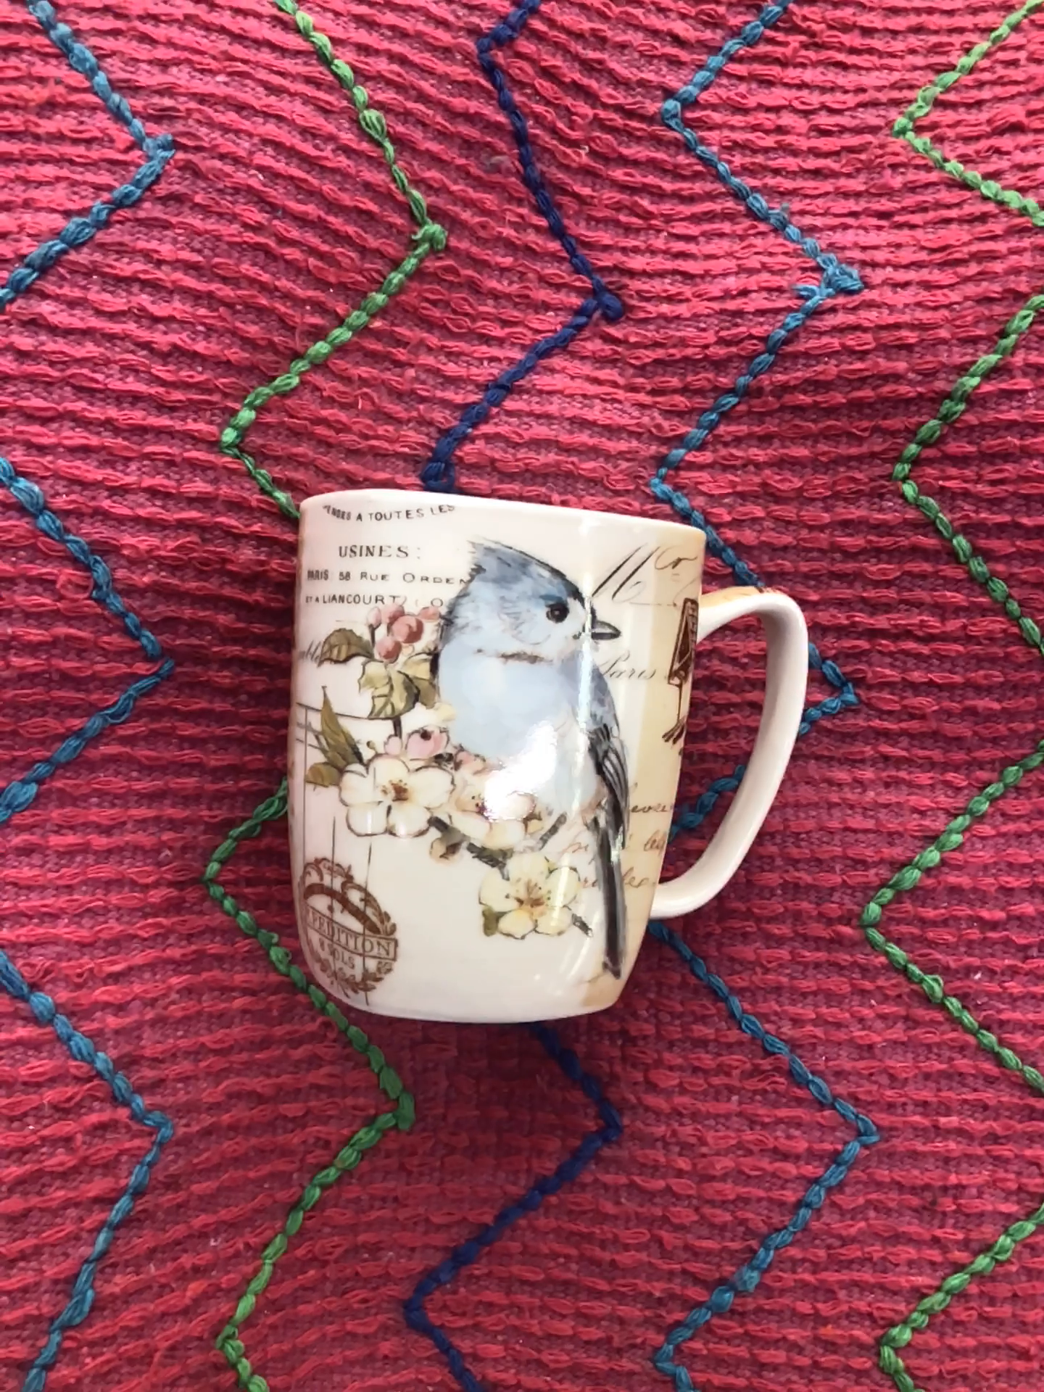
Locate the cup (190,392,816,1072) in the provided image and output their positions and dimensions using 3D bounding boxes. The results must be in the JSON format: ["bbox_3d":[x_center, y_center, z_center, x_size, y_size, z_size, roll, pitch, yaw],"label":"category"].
[{"bbox_3d":[-0.007,0.004,0.241,0.110,0.070,0.110,-1,93,-23],"label":"cup"}]
